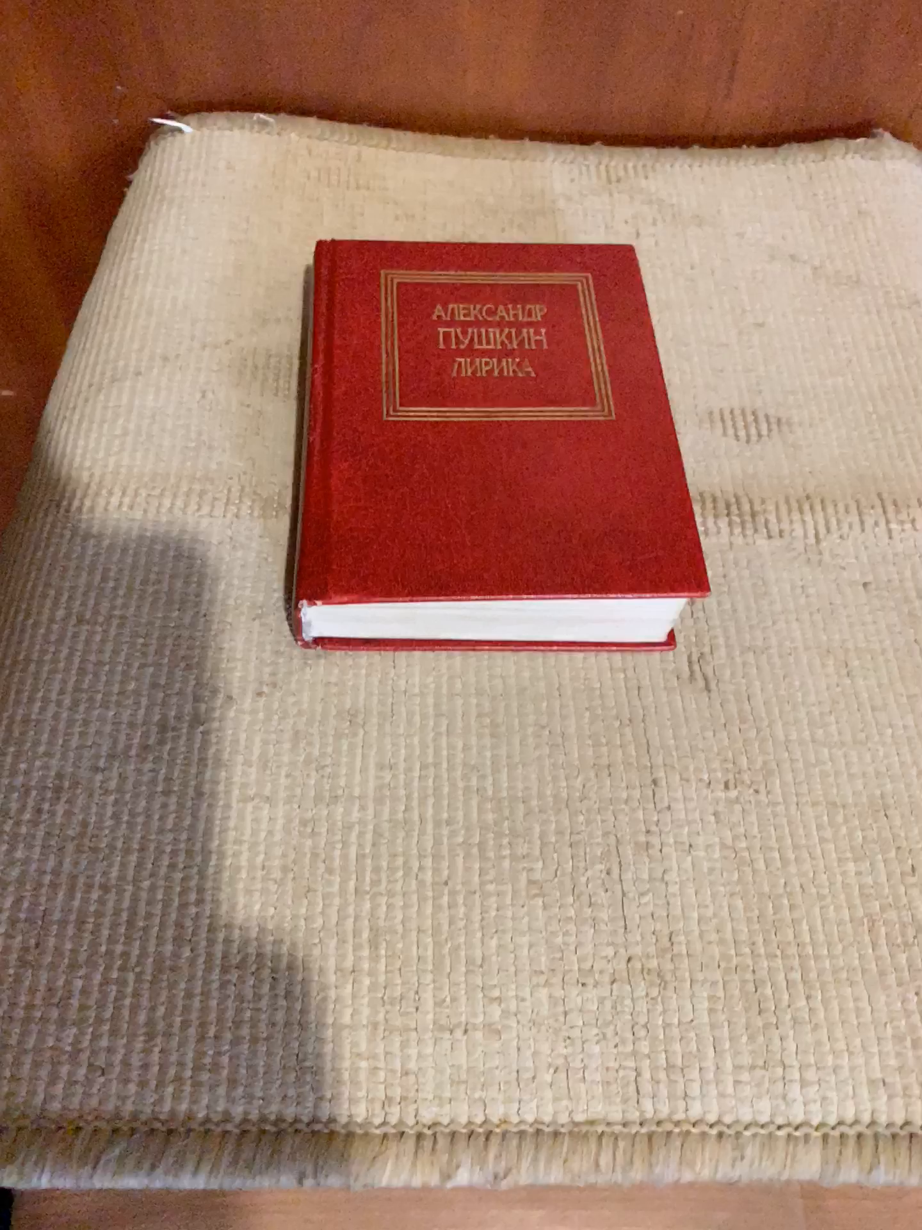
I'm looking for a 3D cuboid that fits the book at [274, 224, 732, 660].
[{"bbox_3d":[0.009,-0.060,0.301,0.119,0.034,0.149,0,58,-3],"label":"book"}]
